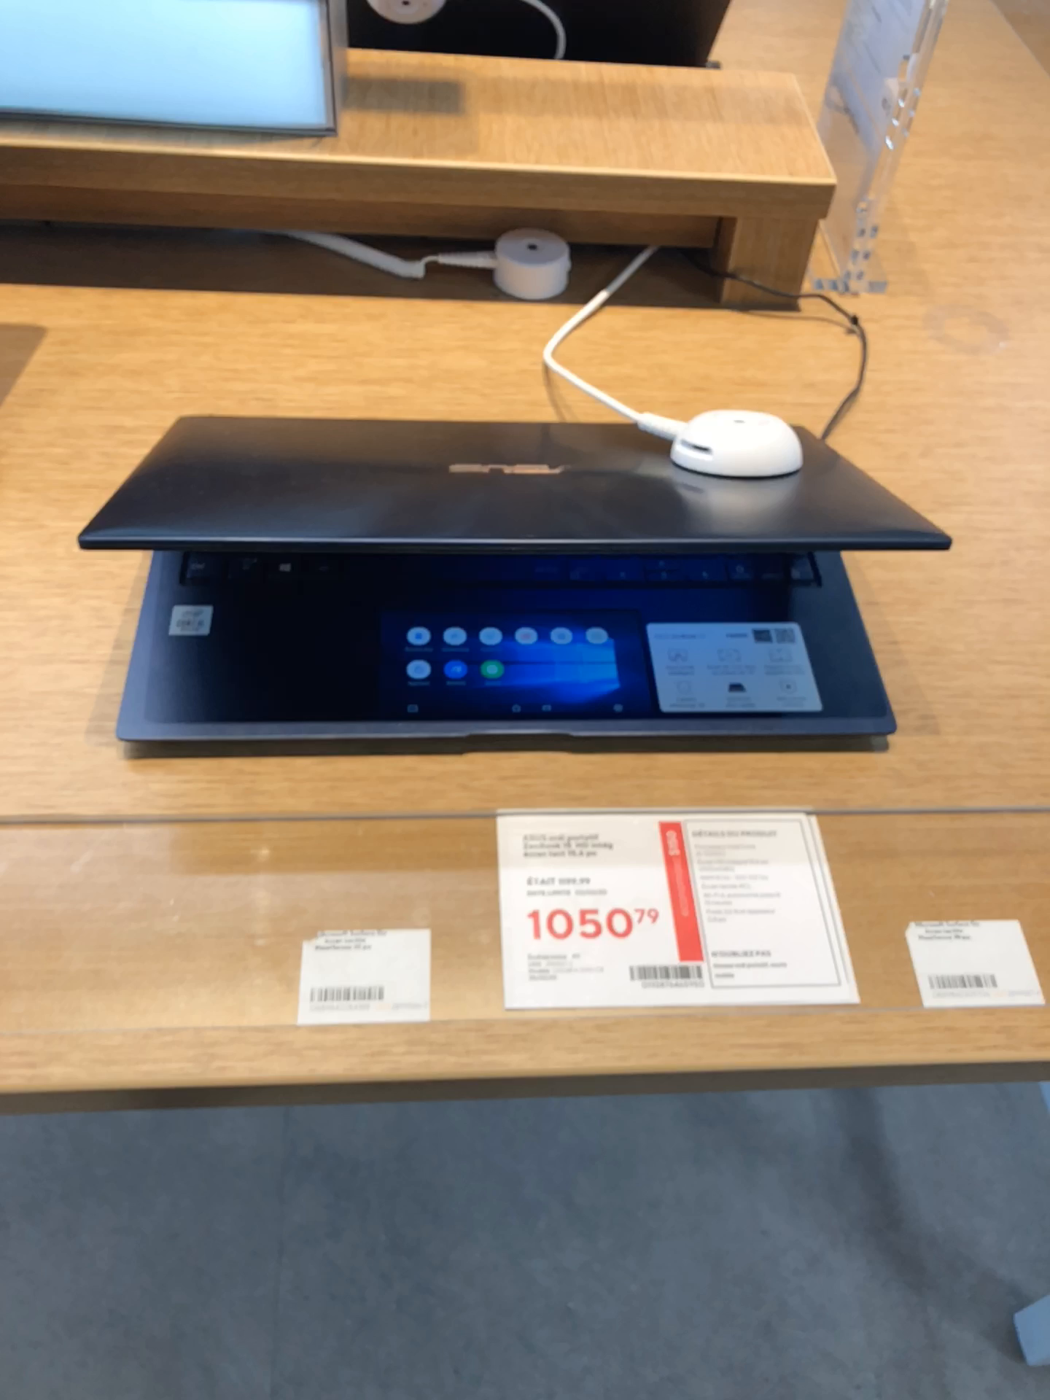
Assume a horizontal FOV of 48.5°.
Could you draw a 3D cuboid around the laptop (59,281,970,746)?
[{"bbox_3d":[-0.005,-0.093,0.553,0.352,0.098,0.209,0,50,-6],"label":"laptop"}]
